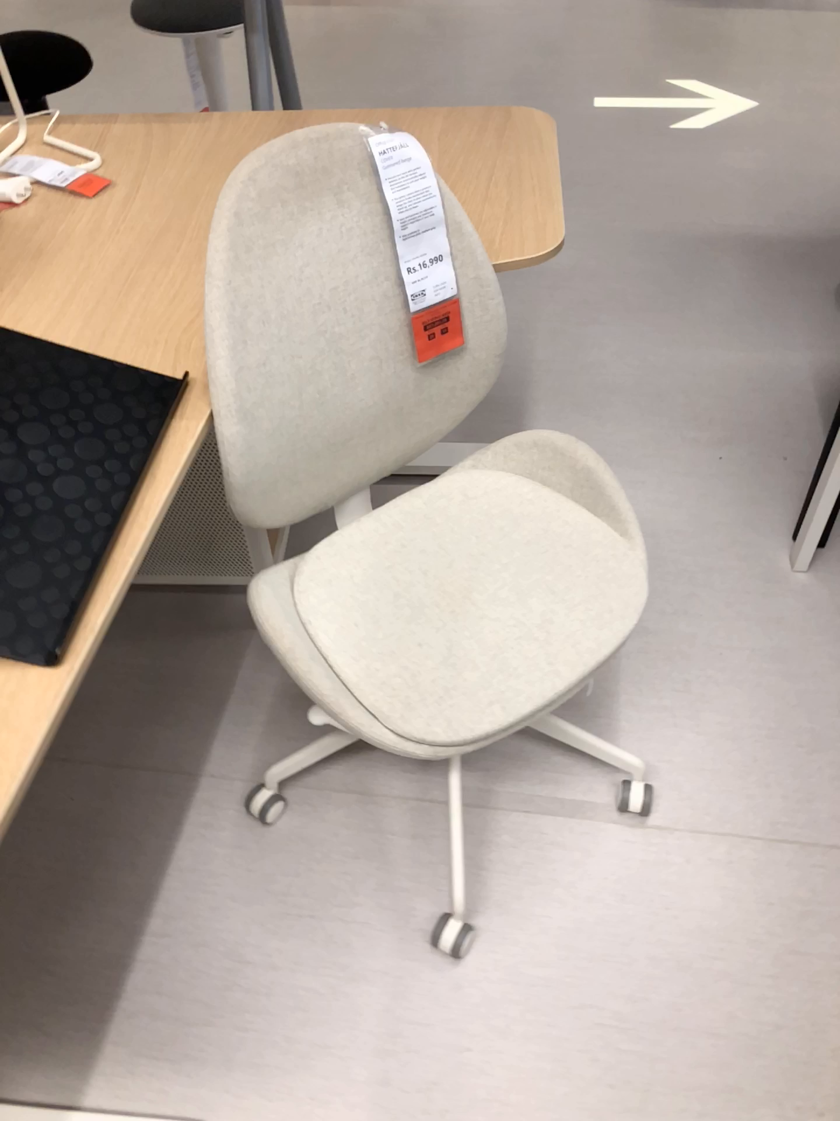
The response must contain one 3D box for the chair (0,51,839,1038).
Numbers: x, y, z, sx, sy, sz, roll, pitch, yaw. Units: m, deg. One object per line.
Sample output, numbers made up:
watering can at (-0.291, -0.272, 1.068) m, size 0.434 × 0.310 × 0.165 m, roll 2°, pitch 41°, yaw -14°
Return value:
chair at (0.025, 0.008, 1.251) m, size 0.662 × 0.993 × 0.623 m, roll -32°, pitch 53°, yaw -24°
